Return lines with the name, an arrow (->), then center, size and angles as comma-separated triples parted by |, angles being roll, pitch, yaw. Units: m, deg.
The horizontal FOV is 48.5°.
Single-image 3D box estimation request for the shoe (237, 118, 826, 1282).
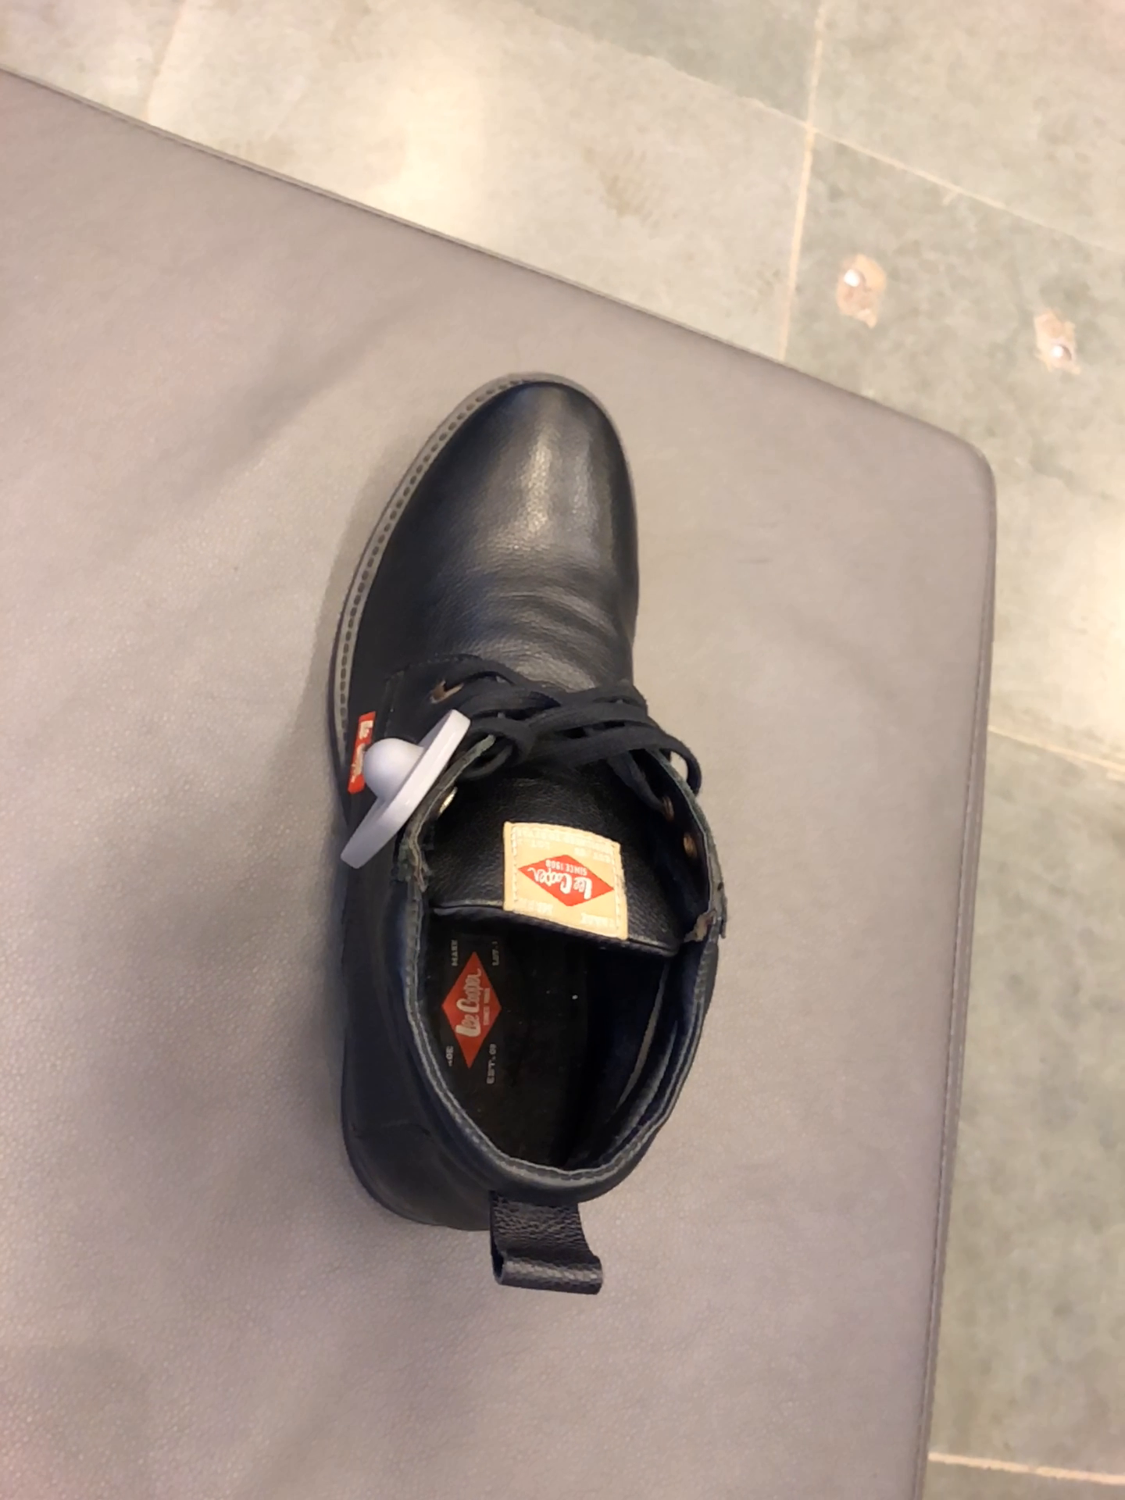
shoe -> -0.011, -0.006, 0.372 | 0.111, 0.149, 0.284 | 11, 70, -15
